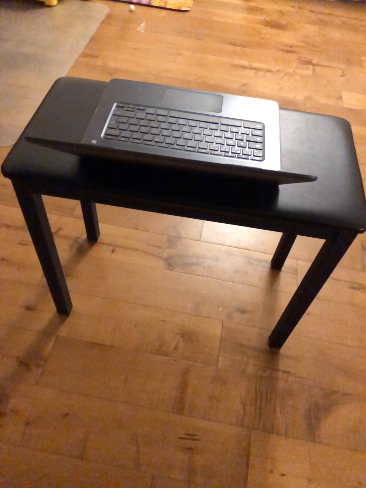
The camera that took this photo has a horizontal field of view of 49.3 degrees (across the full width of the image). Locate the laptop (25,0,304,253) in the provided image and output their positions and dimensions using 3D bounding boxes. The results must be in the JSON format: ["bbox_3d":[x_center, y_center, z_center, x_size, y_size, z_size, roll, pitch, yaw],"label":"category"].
[{"bbox_3d":[-0.004,-0.198,0.612,0.316,0.143,0.364,8,53,1],"label":"laptop"}]
